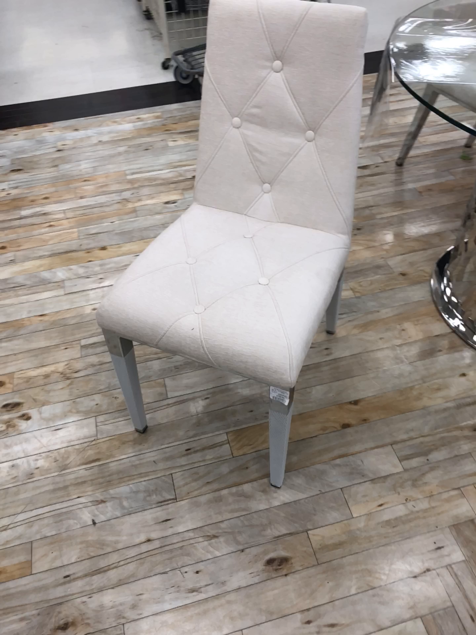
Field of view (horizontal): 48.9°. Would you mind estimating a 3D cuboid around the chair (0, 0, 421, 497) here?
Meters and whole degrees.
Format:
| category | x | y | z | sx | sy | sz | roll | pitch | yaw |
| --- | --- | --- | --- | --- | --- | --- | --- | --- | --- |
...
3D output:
| category | x | y | z | sx | sy | sz | roll | pitch | yaw |
| --- | --- | --- | --- | --- | --- | --- | --- | --- | --- |
| chair | 0.010 | -0.145 | 1.163 | 0.471 | 0.887 | 0.571 | 18 | 49 | 20 |
